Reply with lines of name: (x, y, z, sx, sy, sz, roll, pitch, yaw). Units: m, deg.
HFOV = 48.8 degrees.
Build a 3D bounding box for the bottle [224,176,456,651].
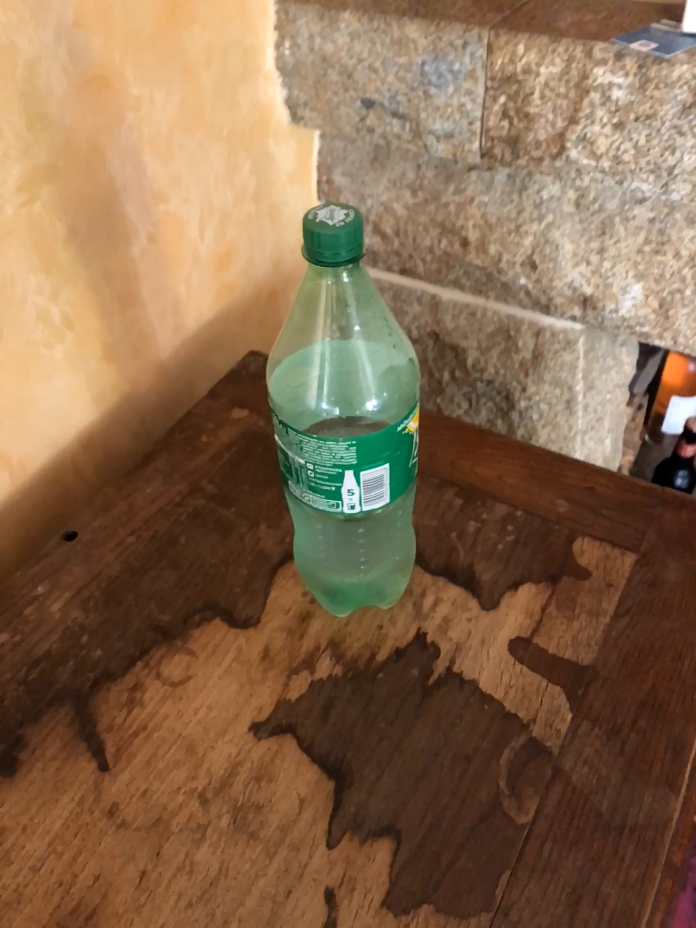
bottle: (-0.002, -0.012, 0.460, 0.090, 0.278, 0.090, -2, 45, 2)
